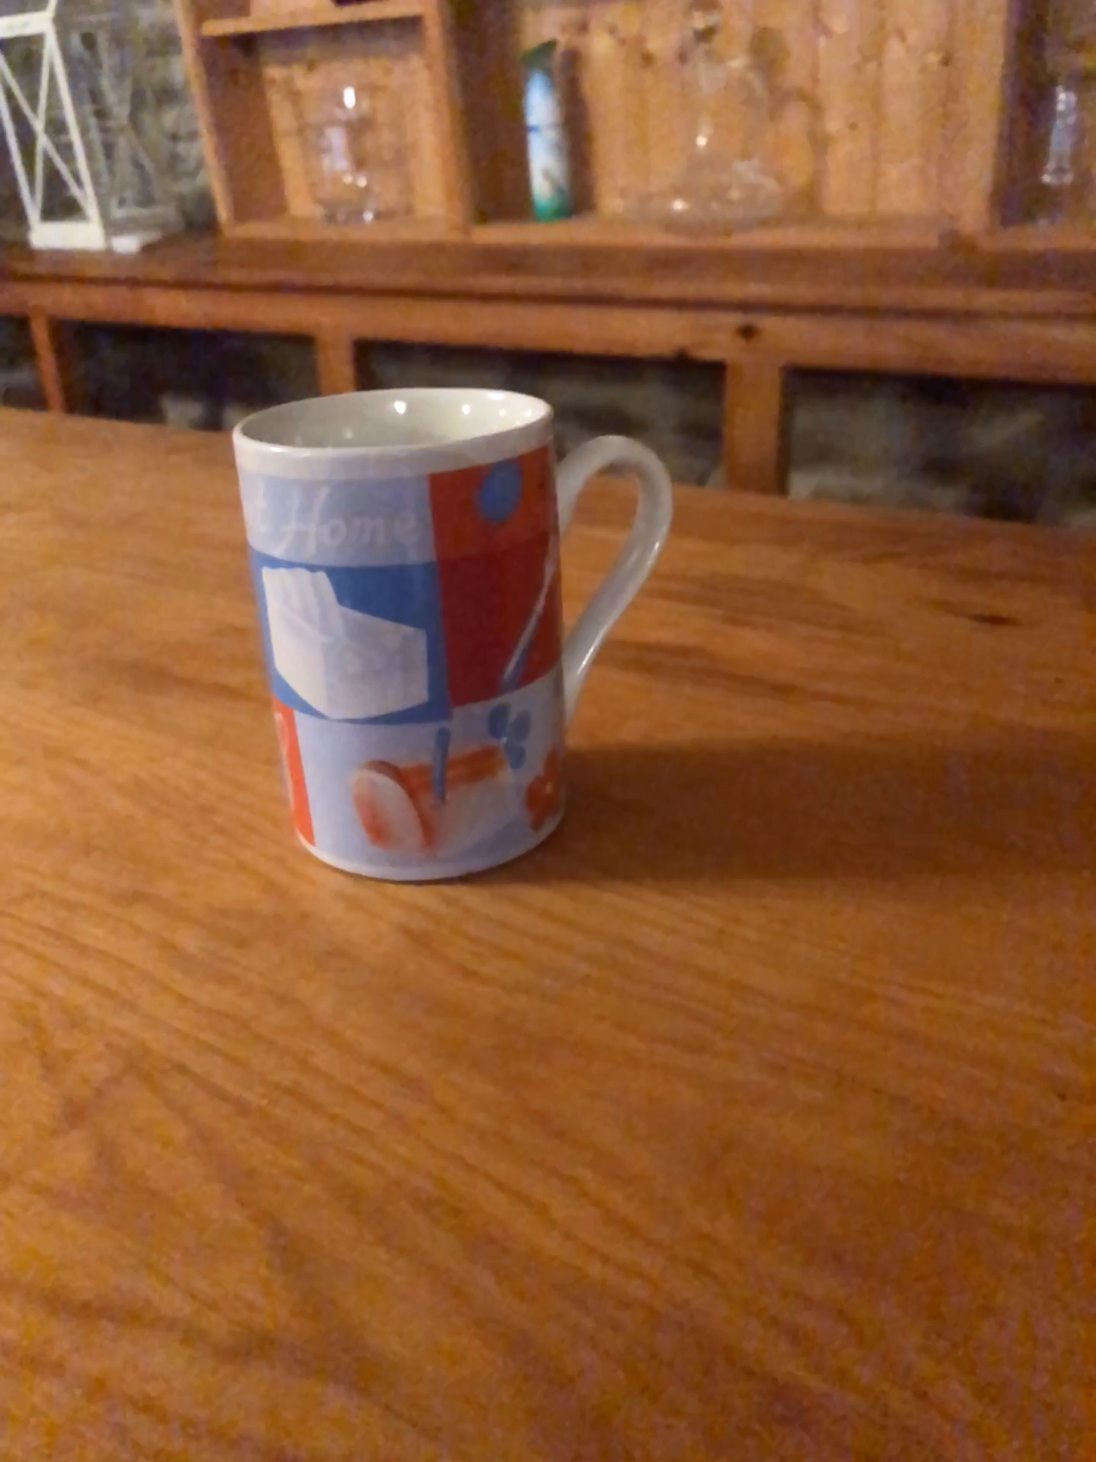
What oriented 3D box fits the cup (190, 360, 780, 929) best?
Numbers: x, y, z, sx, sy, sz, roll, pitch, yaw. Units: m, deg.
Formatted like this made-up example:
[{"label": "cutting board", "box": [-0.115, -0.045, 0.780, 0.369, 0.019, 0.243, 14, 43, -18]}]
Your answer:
[{"label": "cup", "box": [-0.015, -0.029, 0.298, 0.112, 0.099, 0.080, -14, 28, -23]}]
